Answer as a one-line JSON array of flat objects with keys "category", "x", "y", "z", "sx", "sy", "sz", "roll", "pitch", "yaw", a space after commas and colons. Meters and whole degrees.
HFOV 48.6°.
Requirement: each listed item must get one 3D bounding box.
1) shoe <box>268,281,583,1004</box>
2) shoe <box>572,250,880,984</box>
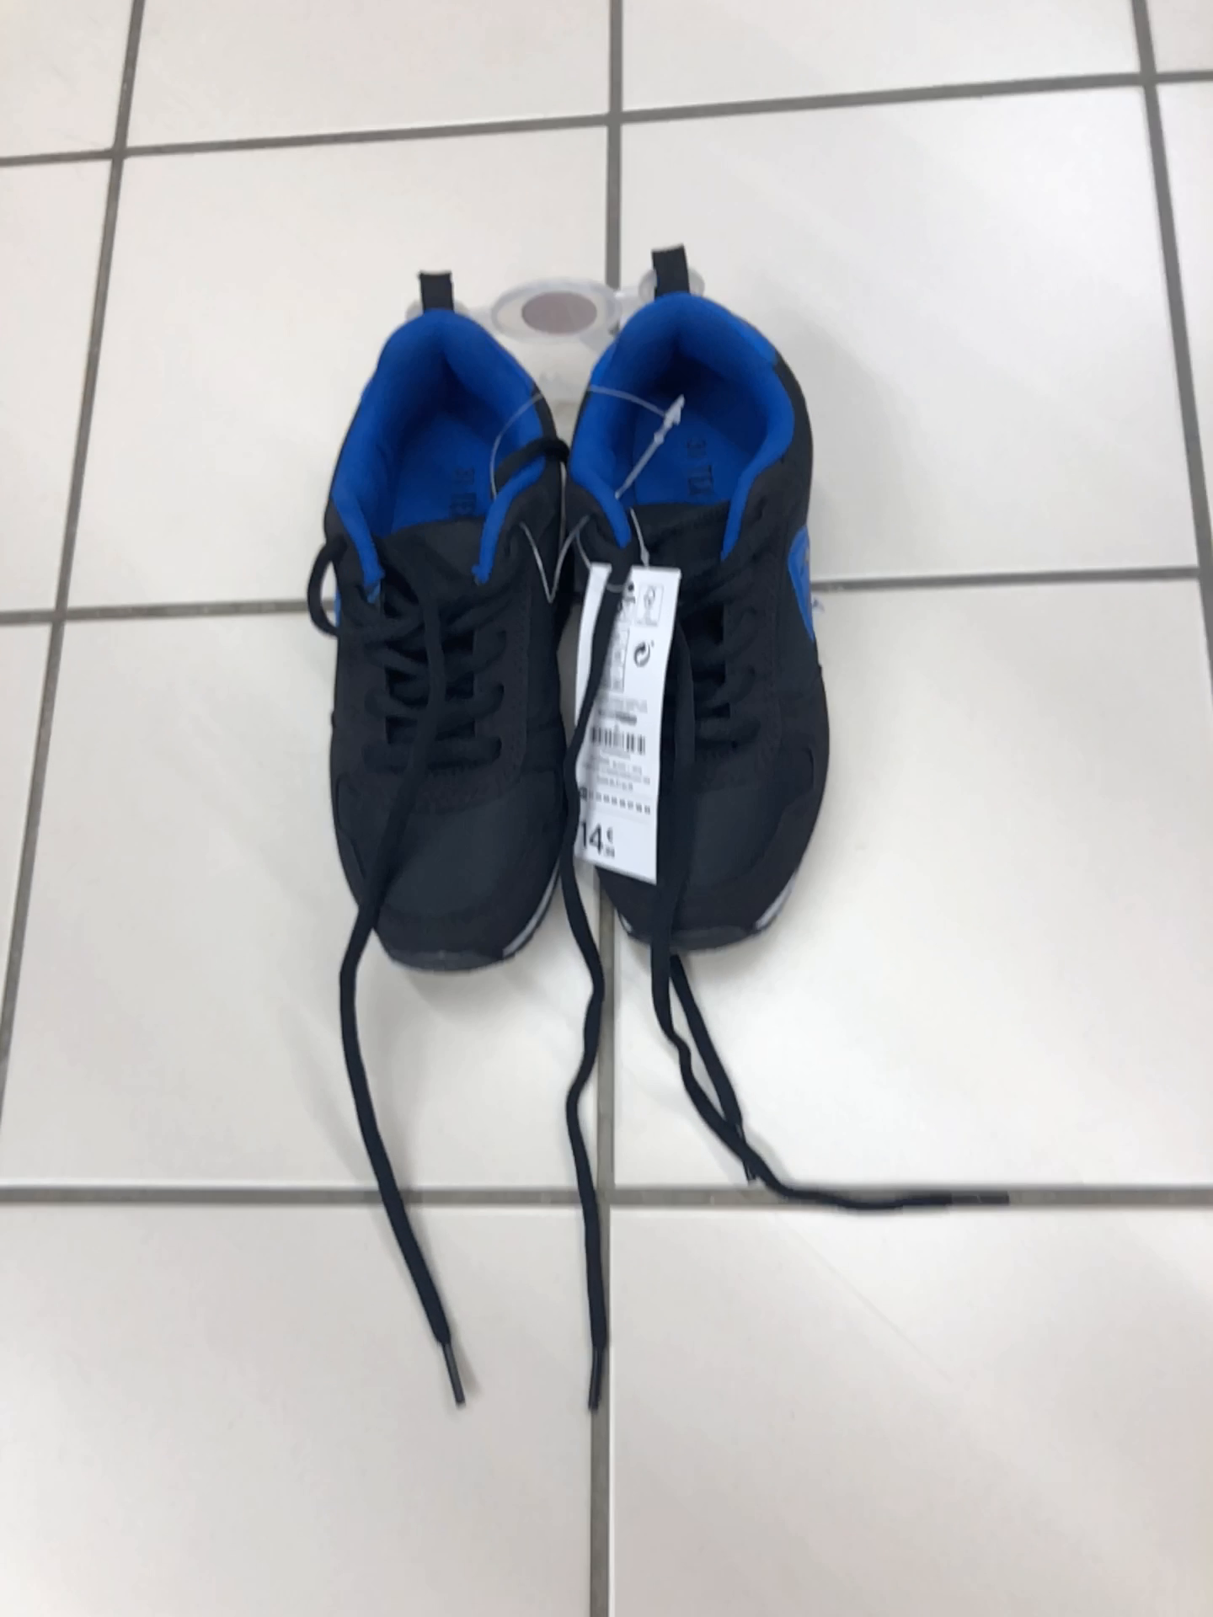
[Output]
[{"category": "shoe", "x": -0.052, "y": -0.049, "z": 0.425, "sx": 0.075, "sy": 0.082, "sz": 0.208, "roll": -3, "pitch": 74, "yaw": 5}, {"category": "shoe", "x": 0.034, "y": -0.056, "z": 0.420, "sx": 0.075, "sy": 0.082, "sz": 0.208, "roll": -3, "pitch": 74, "yaw": 5}]
